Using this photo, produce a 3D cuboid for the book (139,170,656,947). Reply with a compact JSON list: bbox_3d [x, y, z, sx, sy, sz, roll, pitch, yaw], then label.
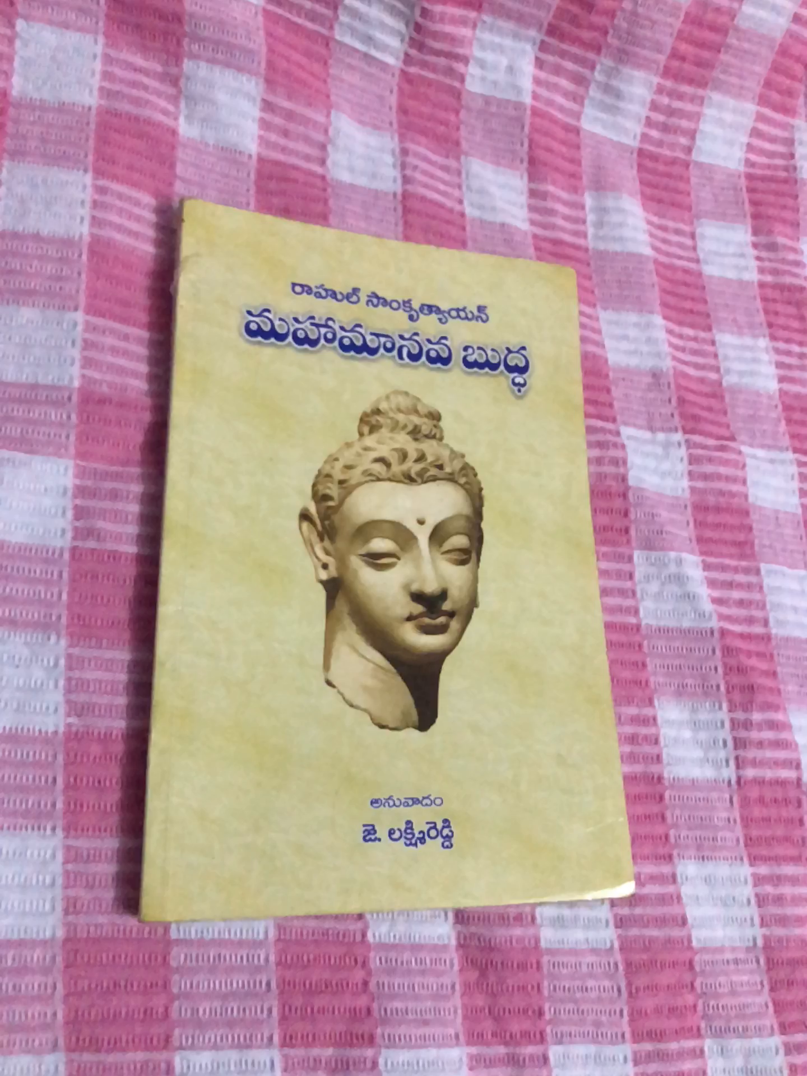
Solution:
[{"bbox_3d":[0.000,-0.001,0.275,0.140,0.020,0.220,5,71,-19],"label":"book"}]
